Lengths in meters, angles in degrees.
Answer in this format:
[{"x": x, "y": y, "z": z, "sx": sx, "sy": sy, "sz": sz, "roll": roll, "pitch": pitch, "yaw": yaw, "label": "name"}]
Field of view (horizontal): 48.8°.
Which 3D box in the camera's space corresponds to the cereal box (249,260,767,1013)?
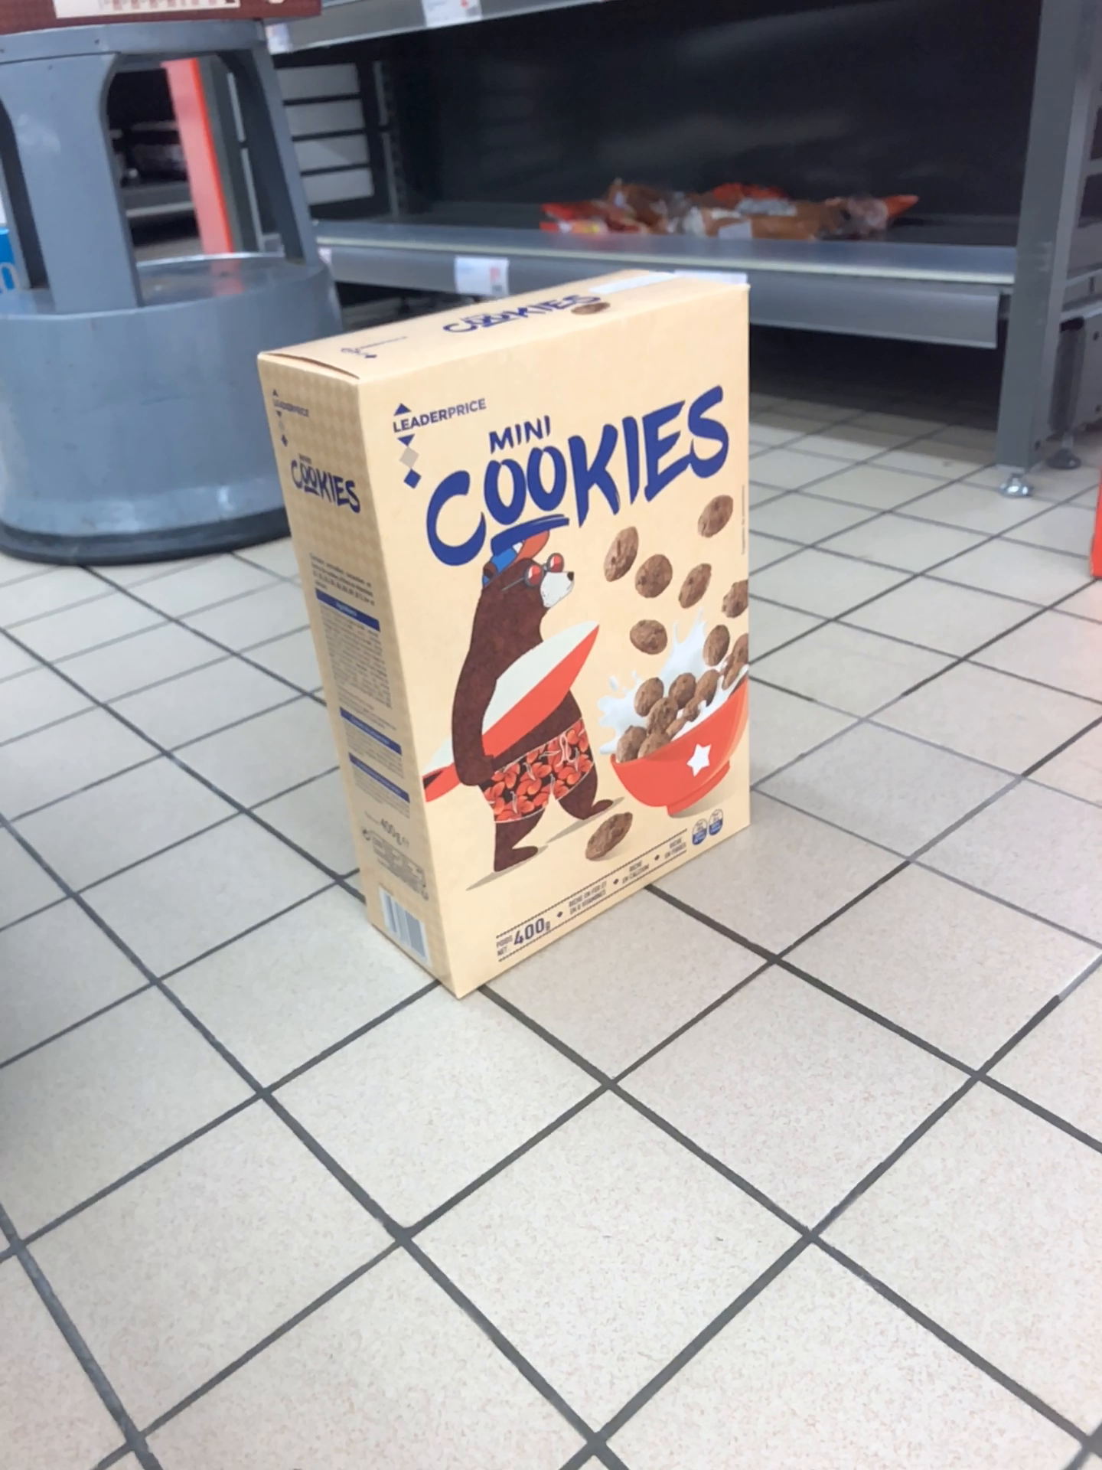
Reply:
[{"x": 0.000, "y": -0.050, "z": 0.549, "sx": 0.201, "sy": 0.278, "sz": 0.080, "roll": -25, "pitch": 33, "yaw": -32, "label": "cereal box"}]
